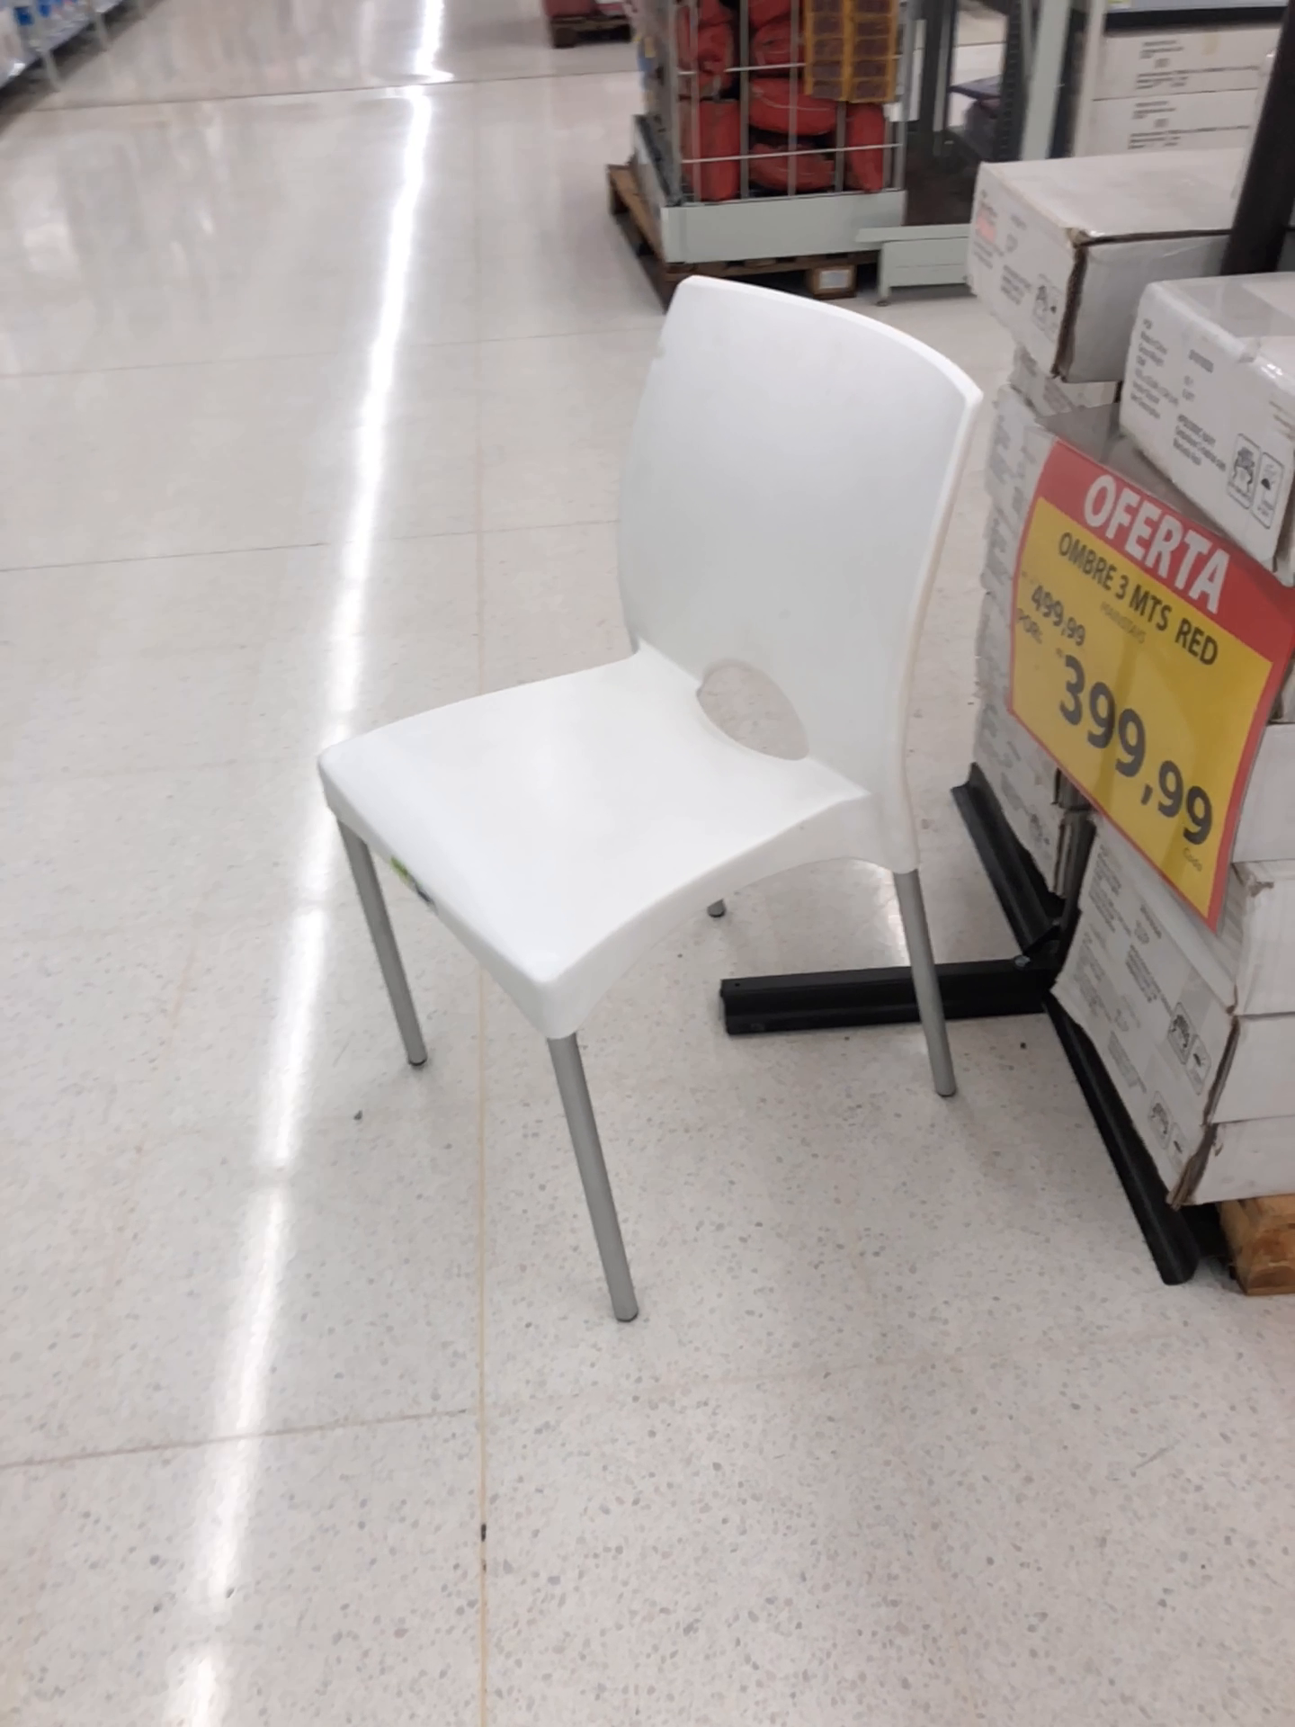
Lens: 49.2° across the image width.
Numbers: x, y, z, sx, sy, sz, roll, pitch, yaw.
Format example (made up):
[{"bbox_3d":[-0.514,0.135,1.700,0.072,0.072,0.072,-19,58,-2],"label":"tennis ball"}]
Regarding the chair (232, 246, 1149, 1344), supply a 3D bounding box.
[{"bbox_3d":[0.037,-0.085,1.392,0.561,0.794,0.503,-24,42,-24],"label":"chair"}]
